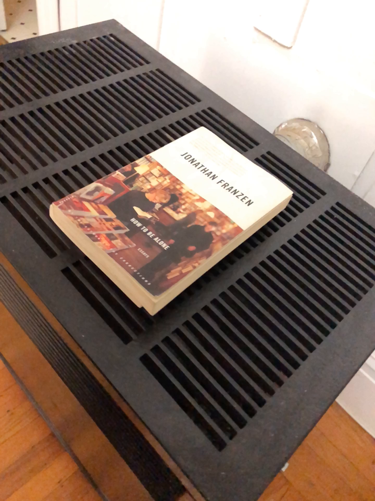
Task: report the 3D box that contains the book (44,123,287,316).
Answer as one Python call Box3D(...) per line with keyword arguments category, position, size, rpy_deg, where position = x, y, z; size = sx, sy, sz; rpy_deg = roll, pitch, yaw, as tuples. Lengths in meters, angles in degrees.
Box3D(category="book", position=(-0.015, -0.049, 0.440), size=(0.150, 0.030, 0.211), rpy_deg=(40, 54, 19))

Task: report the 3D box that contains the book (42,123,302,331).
Box3D(category="book", position=(-0.007, -0.042, 0.412), size=(0.150, 0.030, 0.211), rpy_deg=(40, 54, 19))
